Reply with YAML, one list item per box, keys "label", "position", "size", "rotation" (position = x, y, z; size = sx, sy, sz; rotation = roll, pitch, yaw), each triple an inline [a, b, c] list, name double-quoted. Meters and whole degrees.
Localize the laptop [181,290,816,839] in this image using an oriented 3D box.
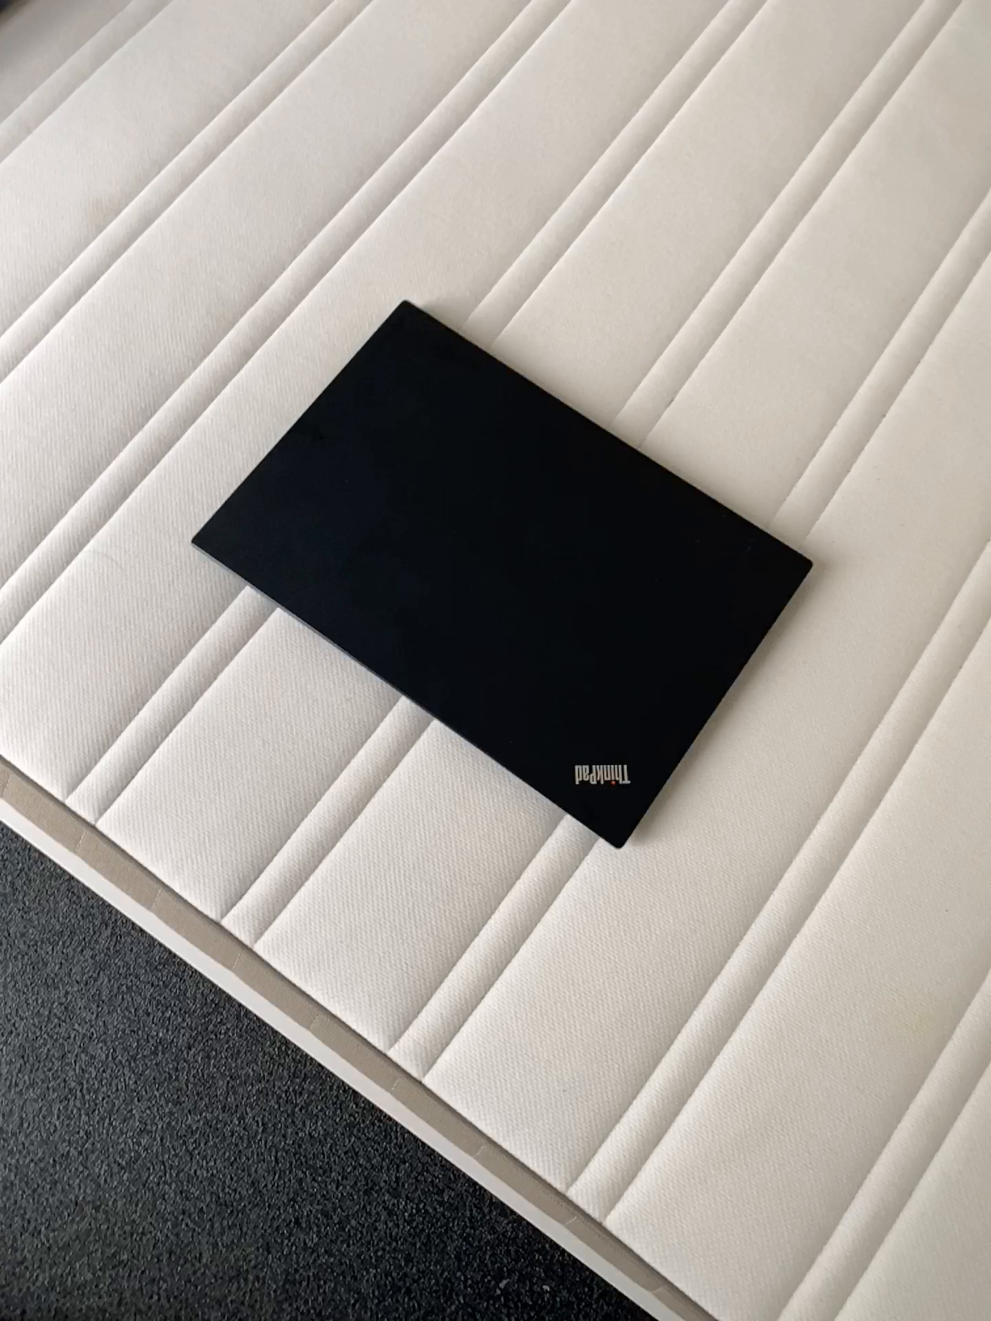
- label: "laptop"
  position: [0.005, -0.074, 0.637]
  size: [0.325, 0.012, 0.226]
  rotation: [35, 73, 8]
